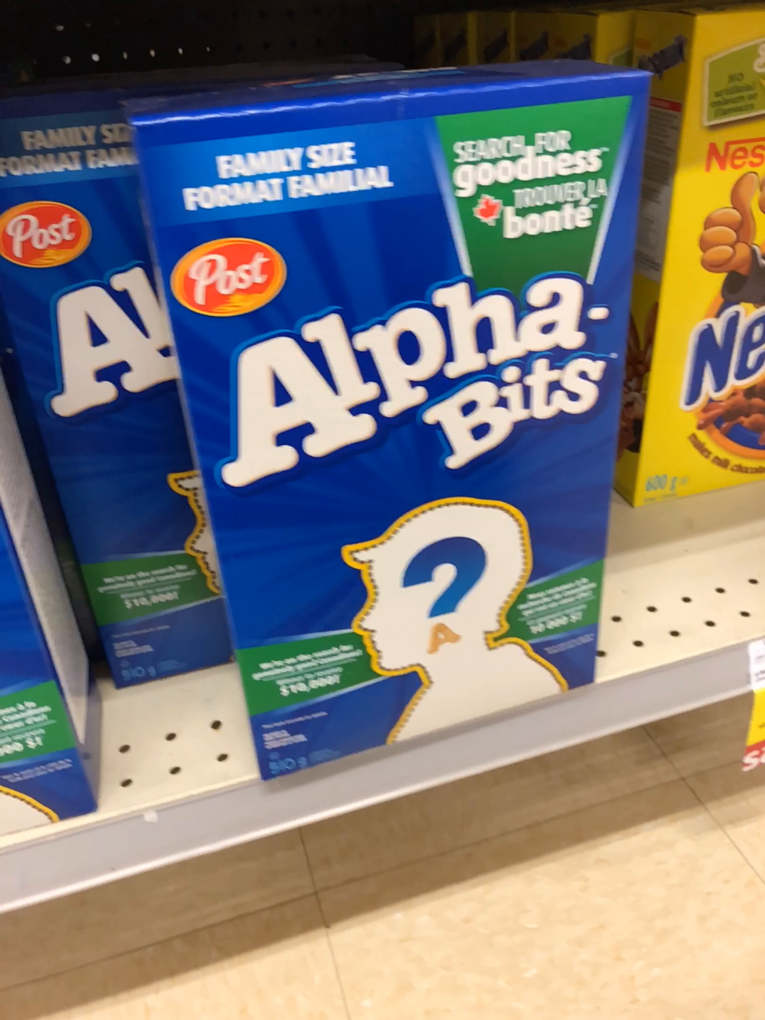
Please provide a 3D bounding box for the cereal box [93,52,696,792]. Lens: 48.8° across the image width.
[{"bbox_3d":[0.010,-0.033,0.390,0.210,0.298,0.081,-13,32,-14],"label":"cereal box"}]
